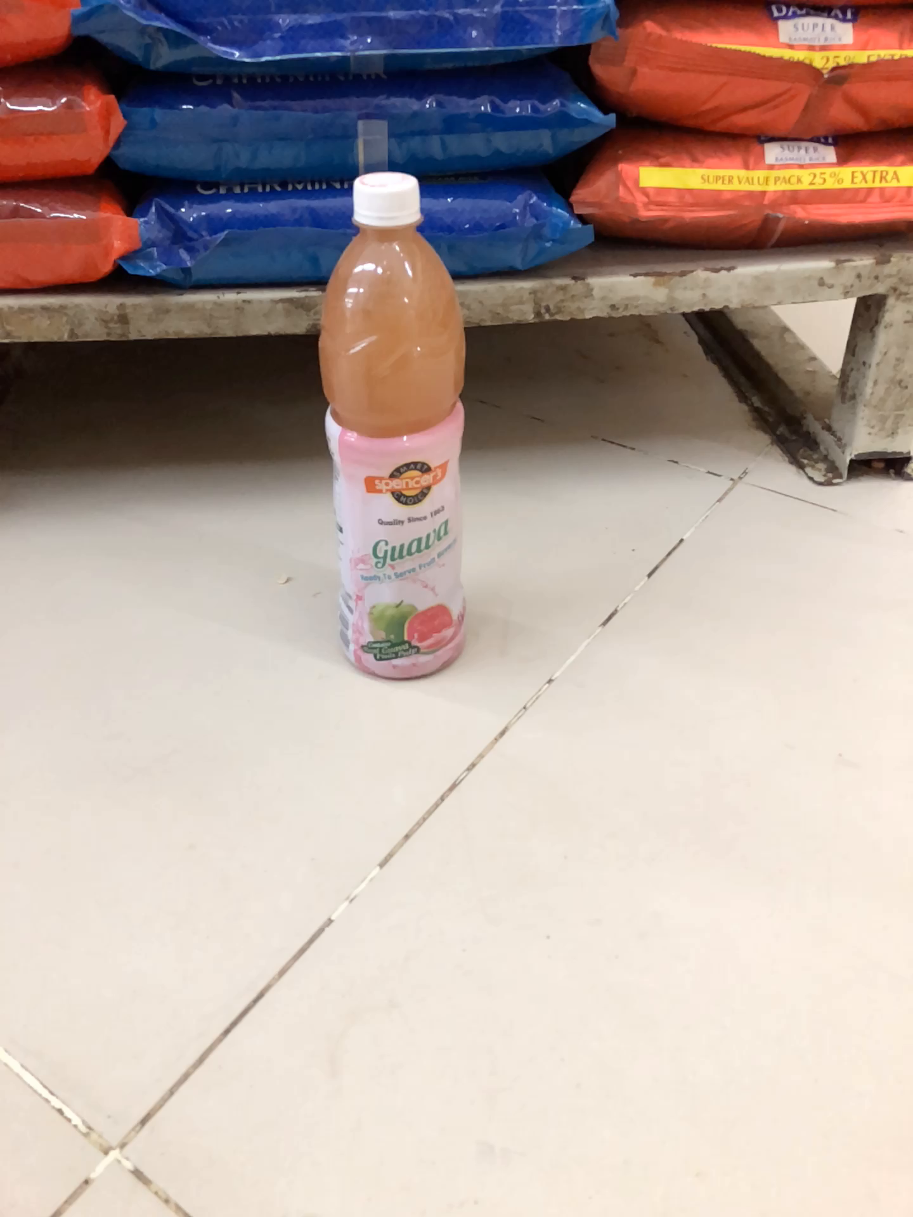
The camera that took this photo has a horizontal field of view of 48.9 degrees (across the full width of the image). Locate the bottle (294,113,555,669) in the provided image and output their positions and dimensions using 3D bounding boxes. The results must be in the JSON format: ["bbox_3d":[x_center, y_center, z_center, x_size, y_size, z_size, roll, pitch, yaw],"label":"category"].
[{"bbox_3d":[-0.014,-0.103,0.525,0.090,0.258,0.090,-1,40,1],"label":"bottle"}]
